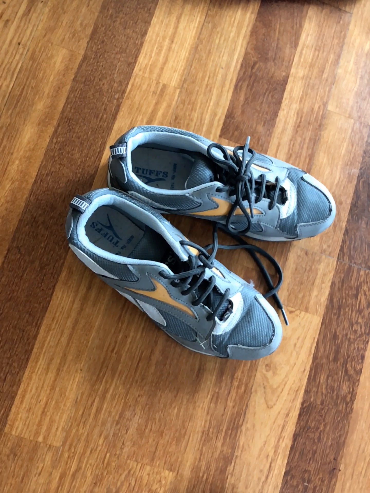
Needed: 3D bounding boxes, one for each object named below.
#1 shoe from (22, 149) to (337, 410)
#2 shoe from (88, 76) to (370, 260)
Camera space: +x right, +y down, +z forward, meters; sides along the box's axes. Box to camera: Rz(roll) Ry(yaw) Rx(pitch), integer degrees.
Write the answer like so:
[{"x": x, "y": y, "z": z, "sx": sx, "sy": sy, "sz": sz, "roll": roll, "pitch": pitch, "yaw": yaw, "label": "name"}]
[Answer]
[{"x": -0.005, "y": 0.036, "z": 0.426, "sx": 0.283, "sy": 0.088, "sz": 0.110, "roll": 33, "pitch": 77, "yaw": -2, "label": "shoe"}, {"x": 0.050, "y": -0.077, "z": 0.459, "sx": 0.283, "sy": 0.099, "sz": 0.112, "roll": 13, "pitch": 78, "yaw": -6, "label": "shoe"}]
